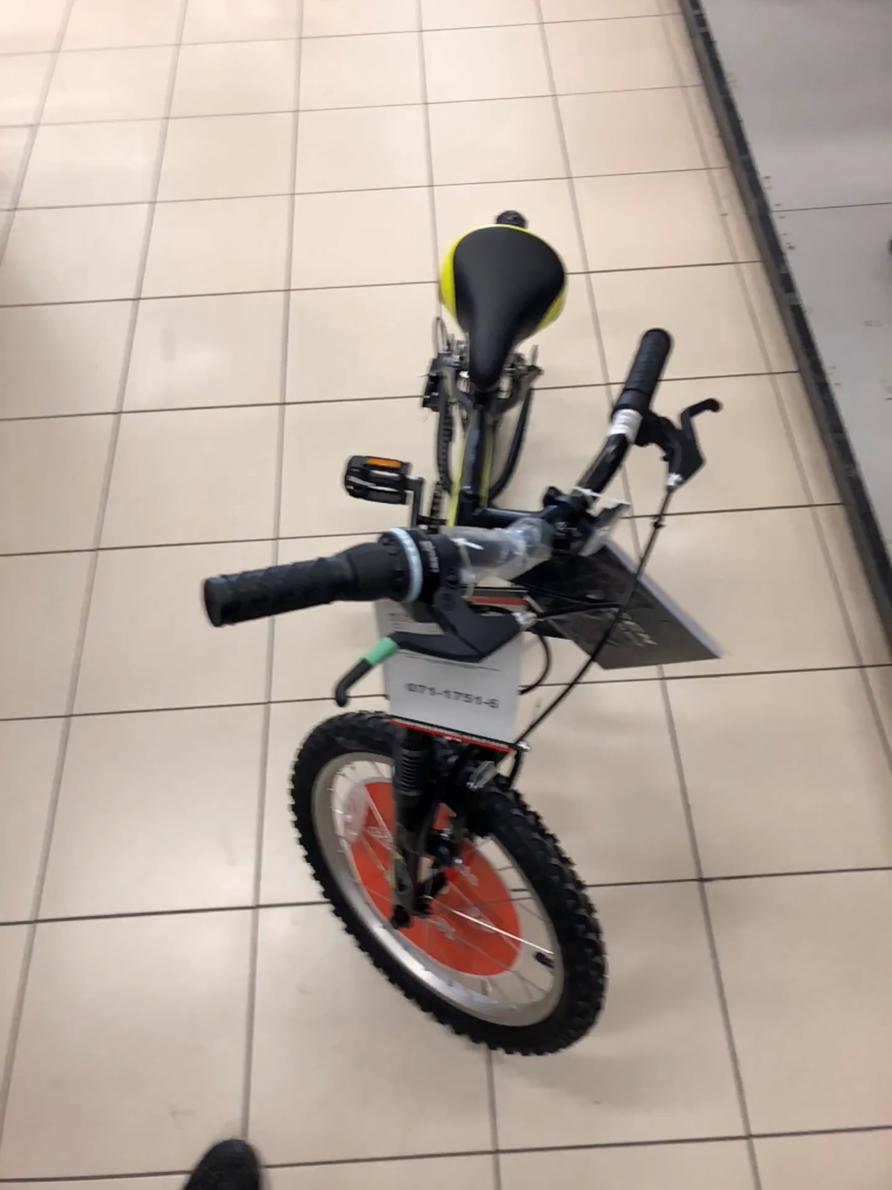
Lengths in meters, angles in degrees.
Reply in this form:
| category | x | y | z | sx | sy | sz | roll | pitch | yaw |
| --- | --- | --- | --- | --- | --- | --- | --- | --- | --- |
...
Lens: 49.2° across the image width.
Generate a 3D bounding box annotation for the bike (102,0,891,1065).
| category | x | y | z | sx | sy | sz | roll | pitch | yaw |
| --- | --- | --- | --- | --- | --- | --- | --- | --- | --- |
| bike | 0.101 | -0.150 | 1.153 | 0.549 | 0.862 | 1.199 | -2 | 58 | 1 |
